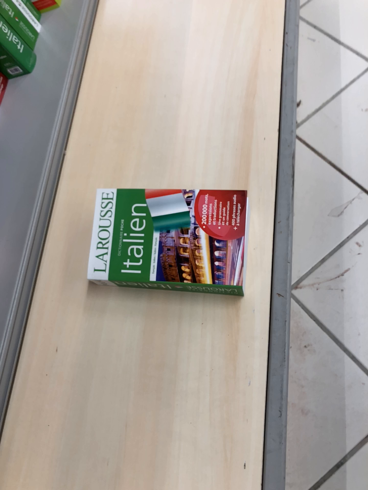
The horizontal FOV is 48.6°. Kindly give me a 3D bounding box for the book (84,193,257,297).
[{"bbox_3d":[-0.011,-0.002,0.472,0.183,0.045,0.107,2,68,12],"label":"book"}]
